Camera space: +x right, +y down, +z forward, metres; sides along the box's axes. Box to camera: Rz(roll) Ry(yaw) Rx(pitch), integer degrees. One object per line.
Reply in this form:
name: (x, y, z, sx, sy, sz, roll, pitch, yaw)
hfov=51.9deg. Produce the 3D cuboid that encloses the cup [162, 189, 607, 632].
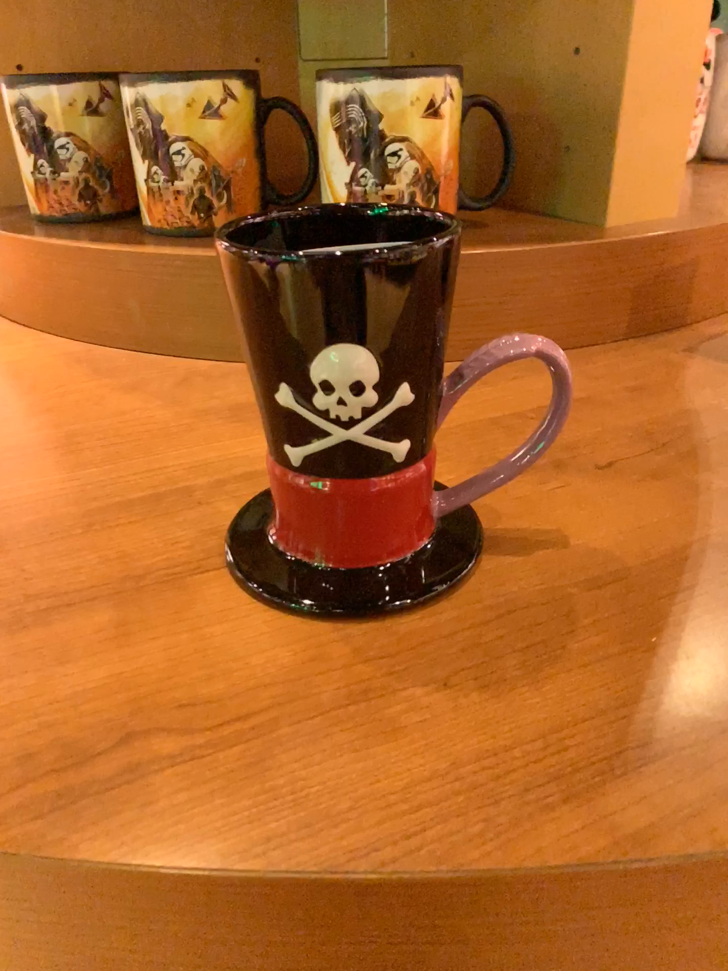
cup: (0.007, -0.034, 0.308, 0.134, 0.144, 0.111, -1, 30, 0)
